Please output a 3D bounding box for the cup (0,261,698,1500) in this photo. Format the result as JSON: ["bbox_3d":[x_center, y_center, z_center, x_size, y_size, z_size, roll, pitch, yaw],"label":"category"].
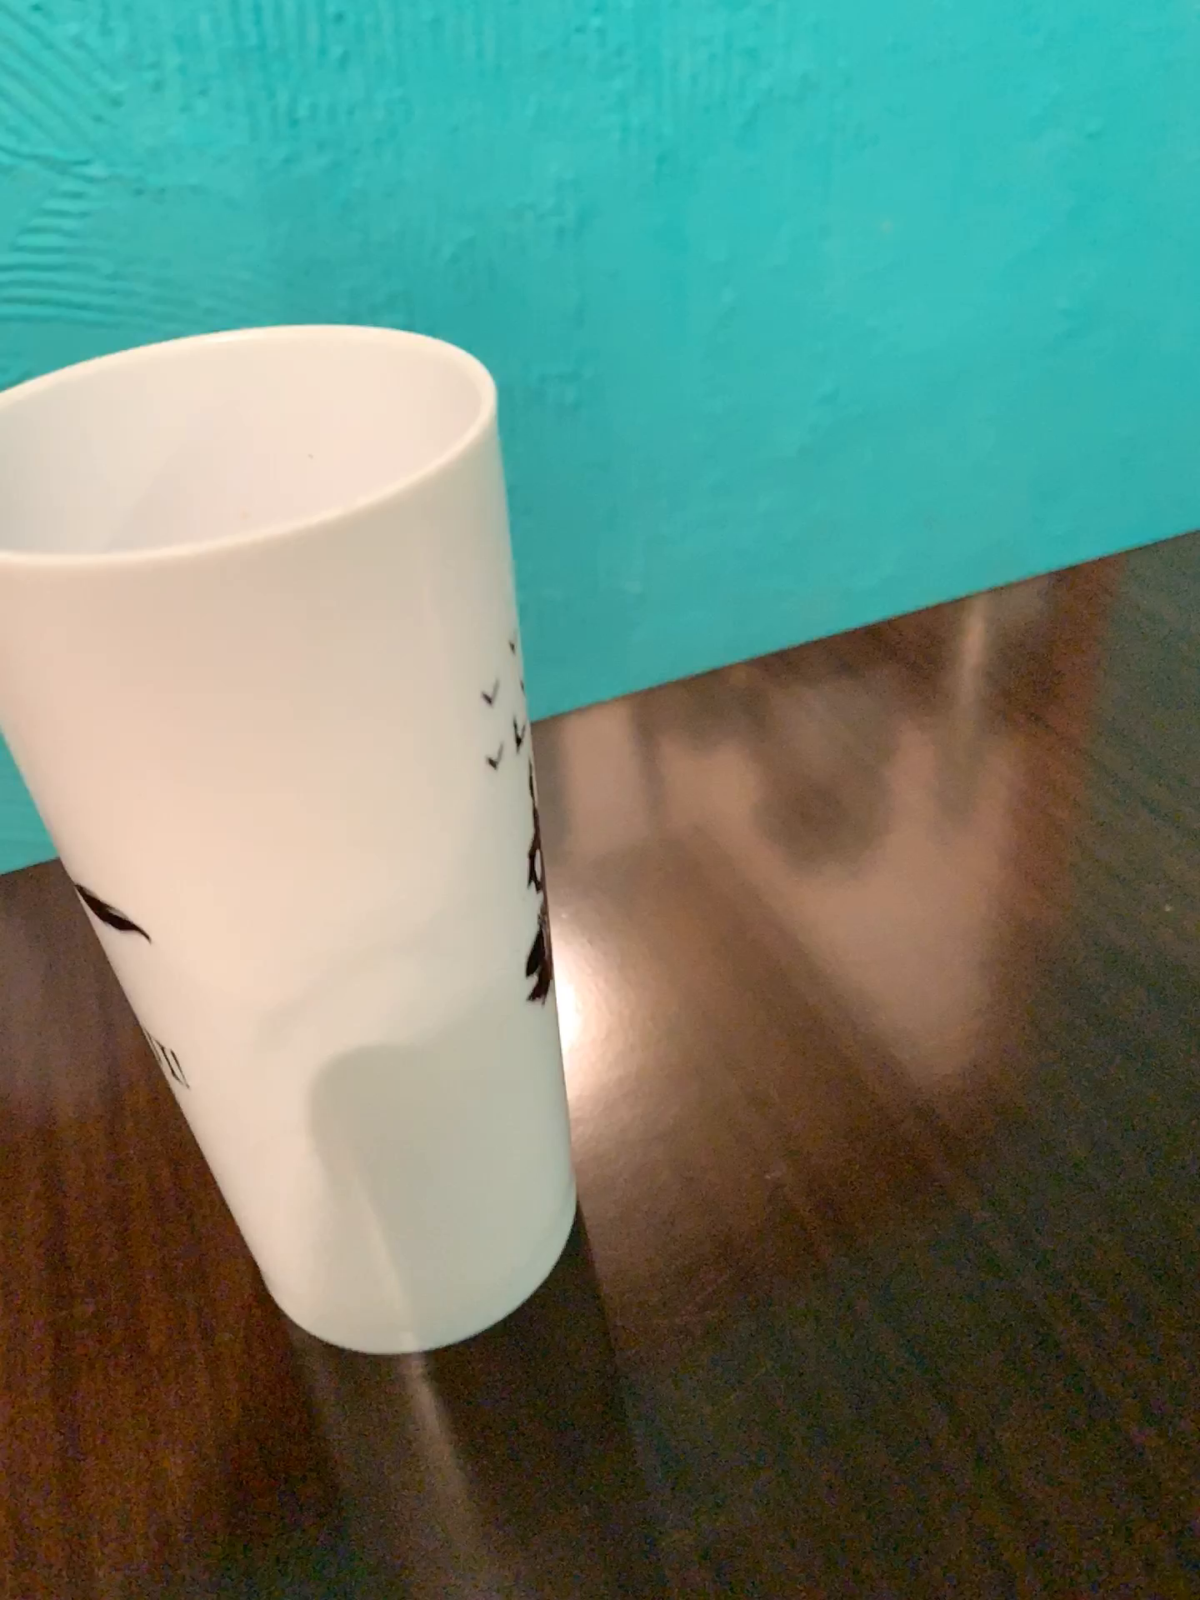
[{"bbox_3d":[-0.034,0.017,0.176,0.070,0.149,0.070,-3,38,3],"label":"cup"}]
